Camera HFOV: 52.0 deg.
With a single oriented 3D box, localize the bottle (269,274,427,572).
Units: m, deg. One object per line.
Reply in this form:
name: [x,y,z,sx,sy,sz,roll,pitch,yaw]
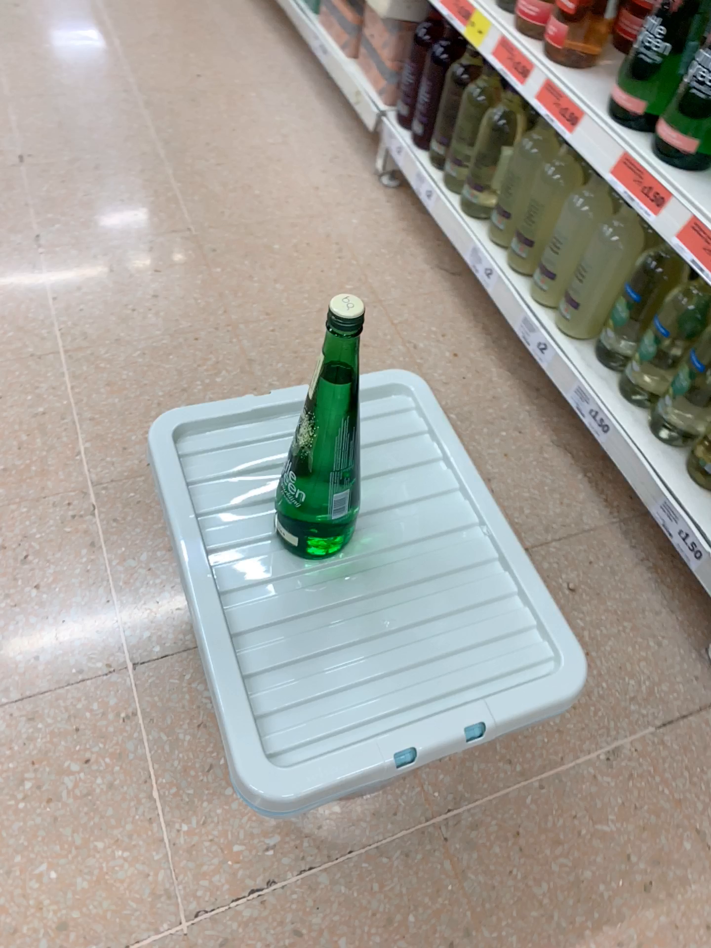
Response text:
bottle: [-0.021,-0.029,0.659,0.093,0.297,0.085,4,52,-5]
